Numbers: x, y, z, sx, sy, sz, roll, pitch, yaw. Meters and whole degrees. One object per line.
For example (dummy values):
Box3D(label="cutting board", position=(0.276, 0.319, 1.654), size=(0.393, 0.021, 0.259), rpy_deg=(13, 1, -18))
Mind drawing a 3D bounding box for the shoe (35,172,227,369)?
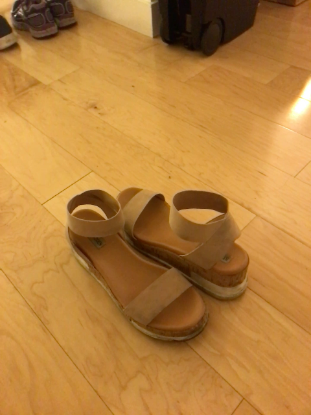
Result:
Box3D(label="shoe", position=(-0.038, 0.082, 0.483), size=(0.251, 0.139, 0.100), rpy_deg=(34, 60, 29))

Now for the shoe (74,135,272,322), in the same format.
Box3D(label="shoe", position=(0.015, 0.022, 0.533), size=(0.291, 0.139, 0.100), rpy_deg=(34, 60, 29))
